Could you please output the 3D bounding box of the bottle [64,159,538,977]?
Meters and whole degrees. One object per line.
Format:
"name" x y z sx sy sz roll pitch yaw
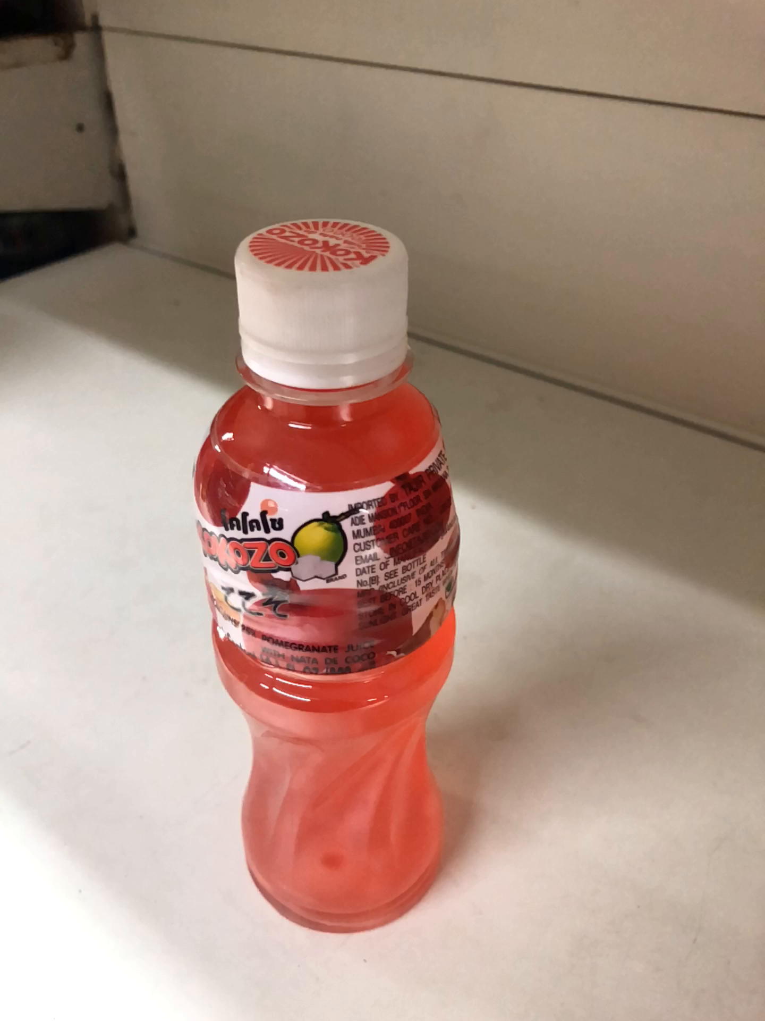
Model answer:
"bottle" -0.013 0.021 0.189 0.060 0.169 0.050 18 37 22
